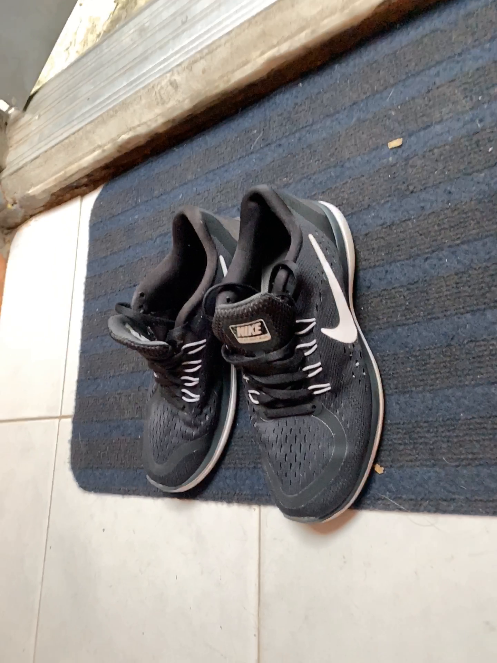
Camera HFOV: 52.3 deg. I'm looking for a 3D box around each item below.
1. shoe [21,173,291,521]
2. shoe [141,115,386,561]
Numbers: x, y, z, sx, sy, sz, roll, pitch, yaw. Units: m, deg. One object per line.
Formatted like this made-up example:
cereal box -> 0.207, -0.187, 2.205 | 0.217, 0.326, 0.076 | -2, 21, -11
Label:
shoe -> -0.074, 0.012, 0.426 | 0.105, 0.118, 0.248 | 16, 88, 40
shoe -> 0.017, 0.009, 0.352 | 0.107, 0.118, 0.248 | -8, 73, 37
